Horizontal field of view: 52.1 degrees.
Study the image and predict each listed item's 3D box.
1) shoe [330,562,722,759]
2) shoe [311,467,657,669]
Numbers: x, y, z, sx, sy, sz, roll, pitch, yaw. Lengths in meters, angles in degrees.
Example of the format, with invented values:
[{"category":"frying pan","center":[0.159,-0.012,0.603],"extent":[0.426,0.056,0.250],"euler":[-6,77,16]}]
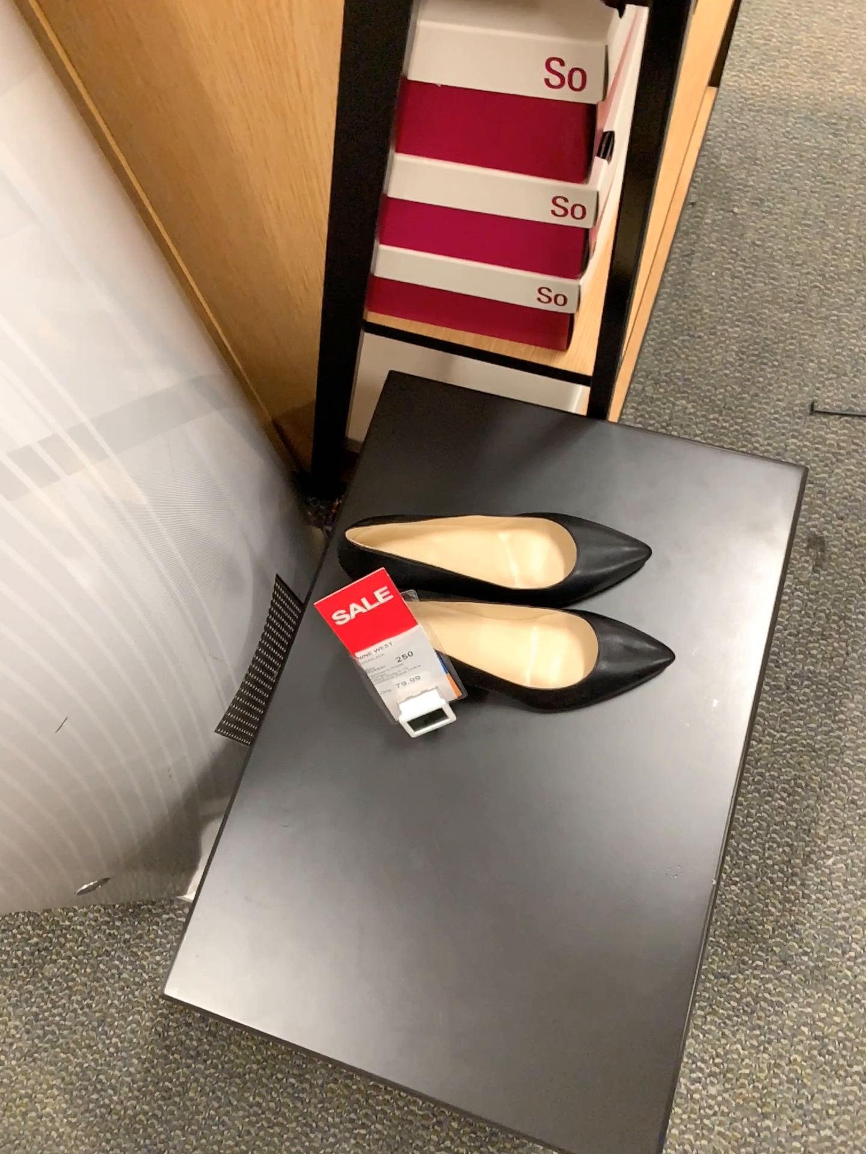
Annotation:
[{"category":"shoe","center":[0.069,0.070,0.673],"extent":[0.250,0.190,0.100],"euler":[2,73,6]},{"category":"shoe","center":[0.042,0.002,0.747],"extent":[0.250,0.190,0.100],"euler":[-4,72,5]}]
